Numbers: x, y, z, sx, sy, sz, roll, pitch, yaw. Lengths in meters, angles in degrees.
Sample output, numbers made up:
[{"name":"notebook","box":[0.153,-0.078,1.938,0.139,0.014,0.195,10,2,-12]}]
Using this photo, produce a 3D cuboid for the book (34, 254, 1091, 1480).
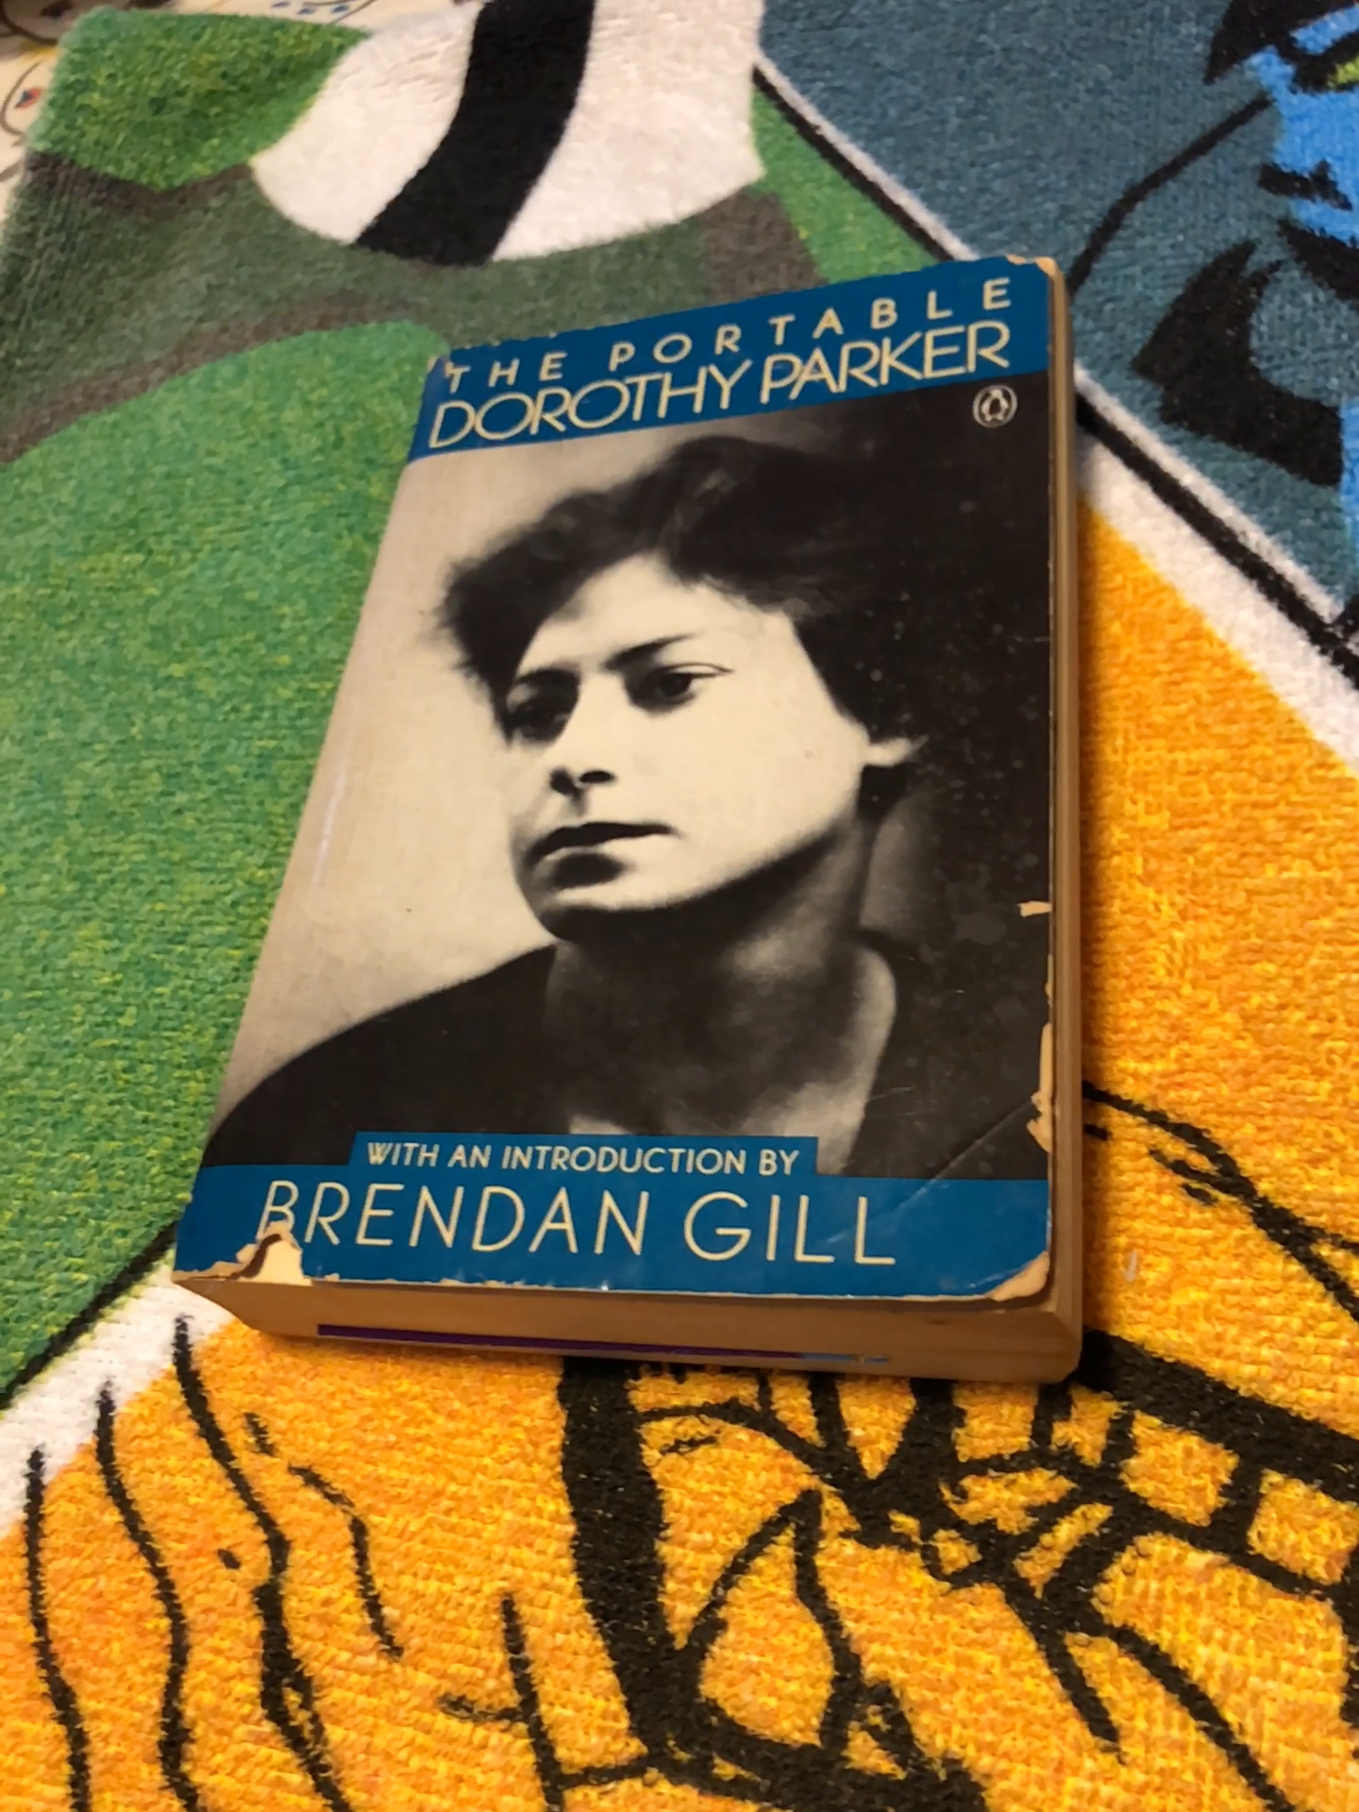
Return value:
[{"name":"book","box":[-0.005,-0.018,0.257,0.140,0.040,0.201,-1,59,15]}]
